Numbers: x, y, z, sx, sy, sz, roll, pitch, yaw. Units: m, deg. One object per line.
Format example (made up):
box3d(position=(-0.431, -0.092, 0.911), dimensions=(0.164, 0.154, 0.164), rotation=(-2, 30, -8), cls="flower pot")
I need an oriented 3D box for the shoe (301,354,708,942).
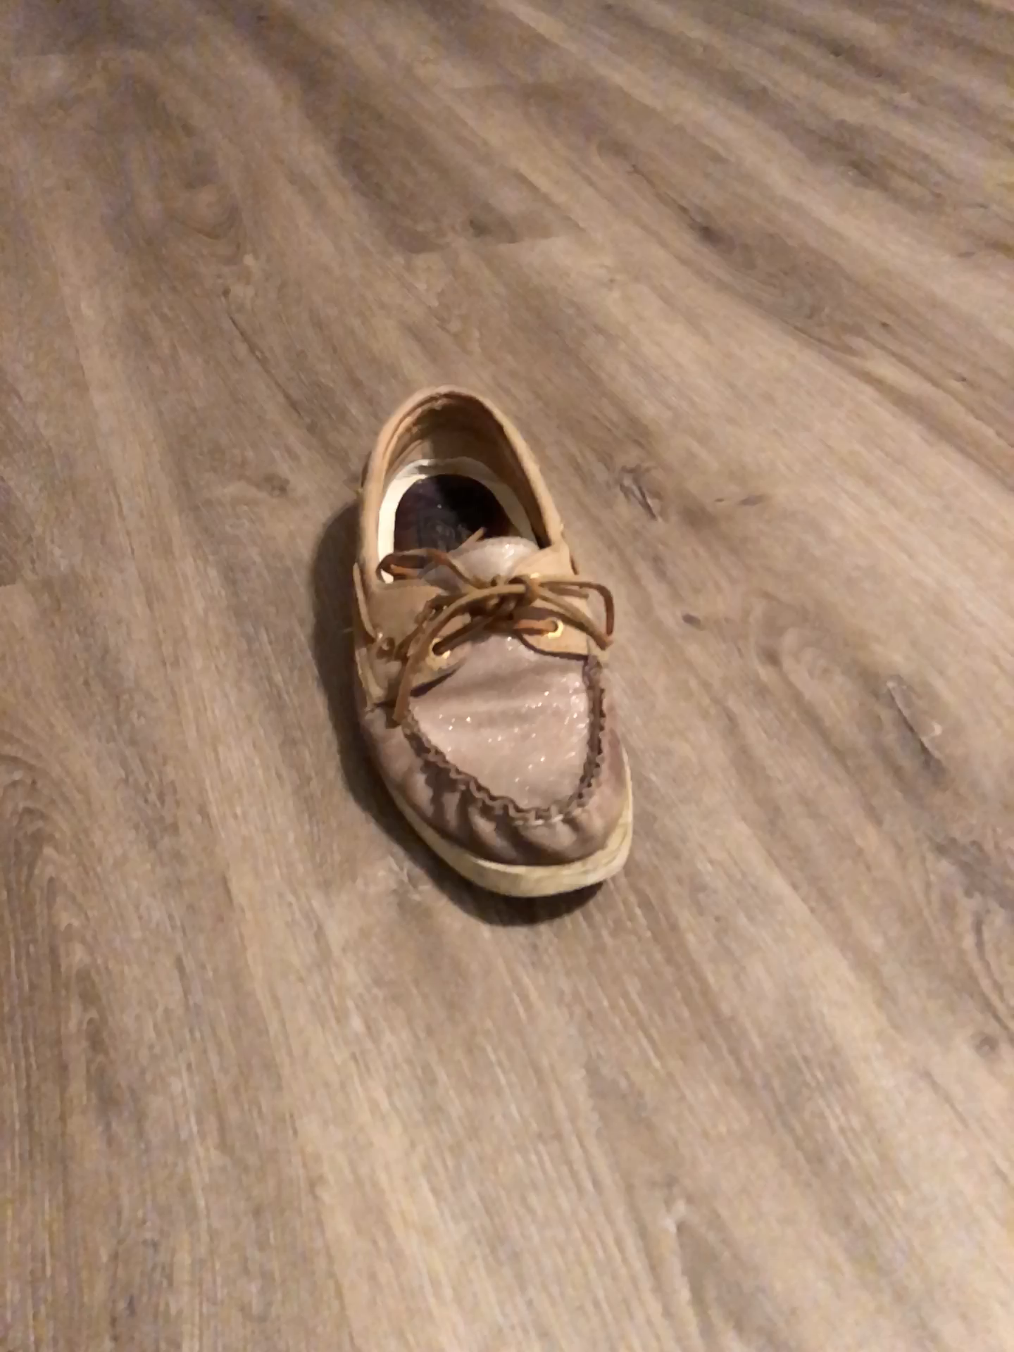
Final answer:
box3d(position=(-0.017, -0.031, 0.428), dimensions=(0.100, 0.070, 0.251), rotation=(-6, 43, -10), cls="shoe")
